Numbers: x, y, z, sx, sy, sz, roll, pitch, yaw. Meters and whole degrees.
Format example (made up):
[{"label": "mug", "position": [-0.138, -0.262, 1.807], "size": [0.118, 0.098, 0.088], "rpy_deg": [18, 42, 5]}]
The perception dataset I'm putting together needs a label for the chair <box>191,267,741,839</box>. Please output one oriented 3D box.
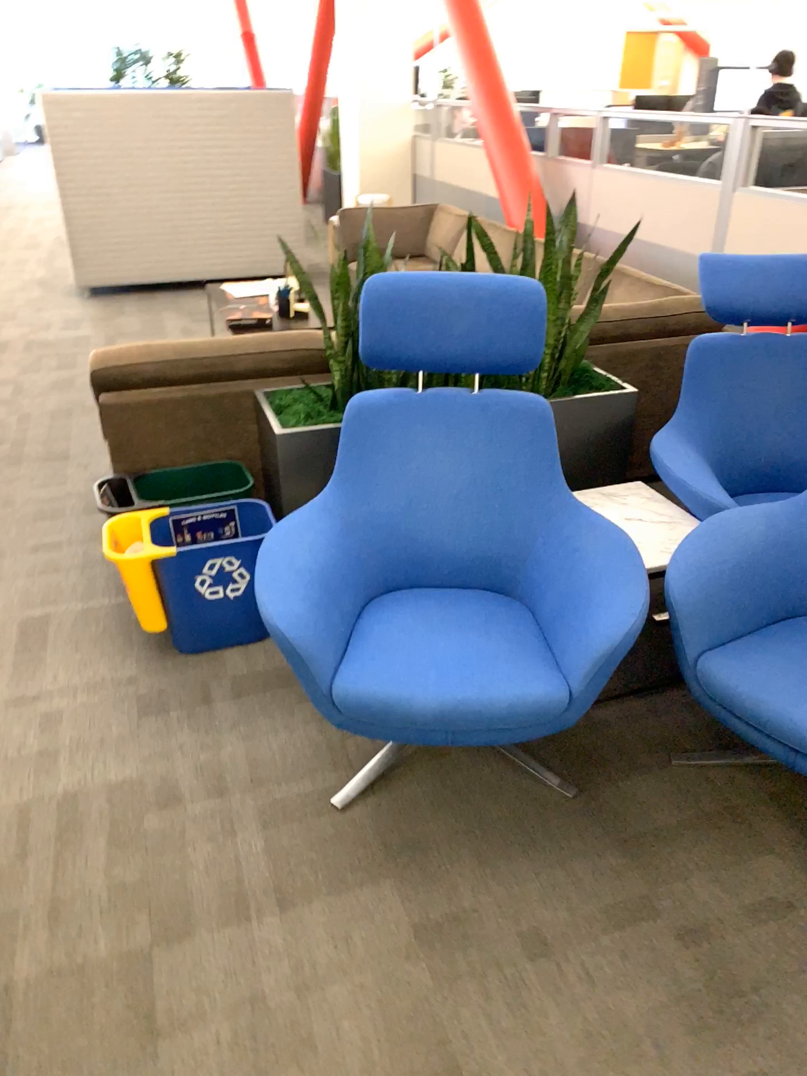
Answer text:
[{"label": "chair", "position": [0.117, 0.020, 1.941], "size": [0.920, 1.143, 0.664], "rpy_deg": [2, 29, 3]}]
